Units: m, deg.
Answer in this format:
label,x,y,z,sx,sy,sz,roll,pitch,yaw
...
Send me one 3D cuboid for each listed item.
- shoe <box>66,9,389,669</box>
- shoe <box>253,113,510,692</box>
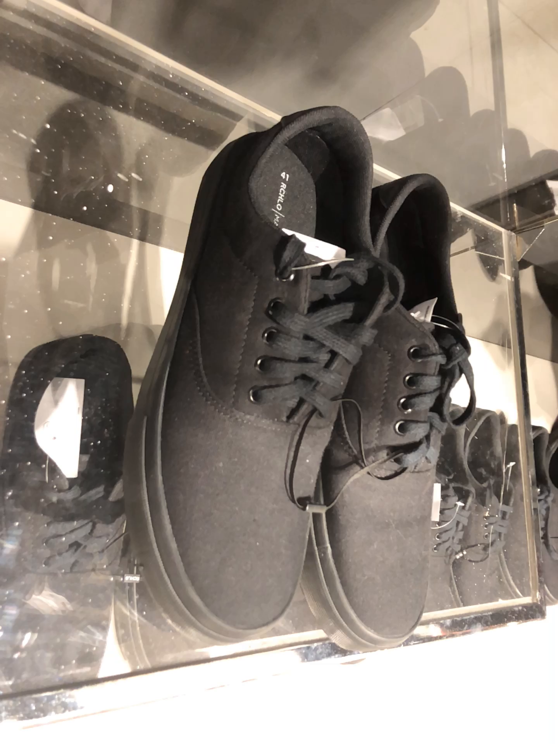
label,x,y,z,sx,sy,sz,roll,pitch,yaw
shoe,-0.021,-0.017,0.356,0.111,0.109,0.320,17,70,-36
shoe,0.064,0.017,0.411,0.111,0.109,0.320,11,74,-38
